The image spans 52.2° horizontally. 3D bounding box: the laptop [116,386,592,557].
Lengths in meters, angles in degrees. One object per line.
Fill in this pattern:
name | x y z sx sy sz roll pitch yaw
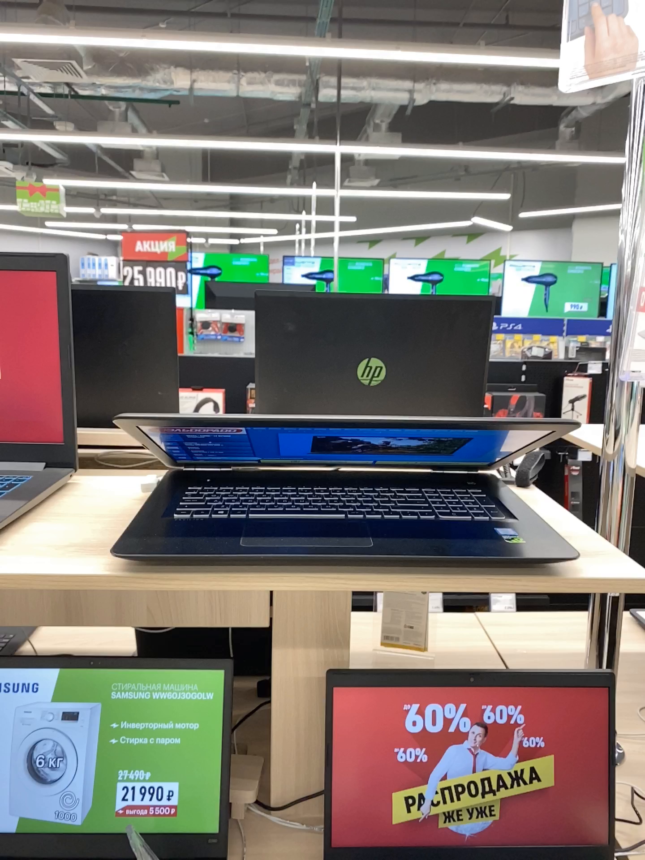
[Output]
laptop | 0.019 0.028 0.683 0.396 0.103 0.264 1 11 -2
